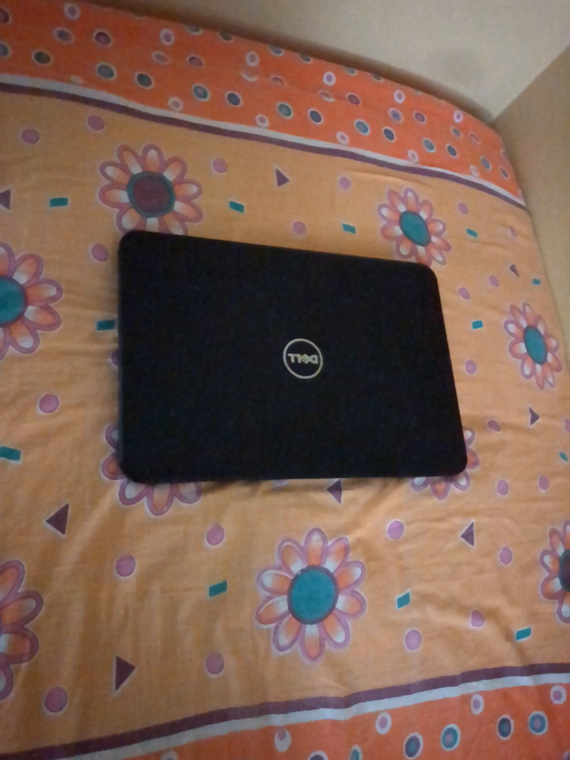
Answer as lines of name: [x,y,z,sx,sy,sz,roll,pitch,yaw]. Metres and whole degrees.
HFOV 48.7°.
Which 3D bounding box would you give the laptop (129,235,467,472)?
laptop: [0.022,-0.025,0.660,0.359,0.001,0.236,2,73,-21]
